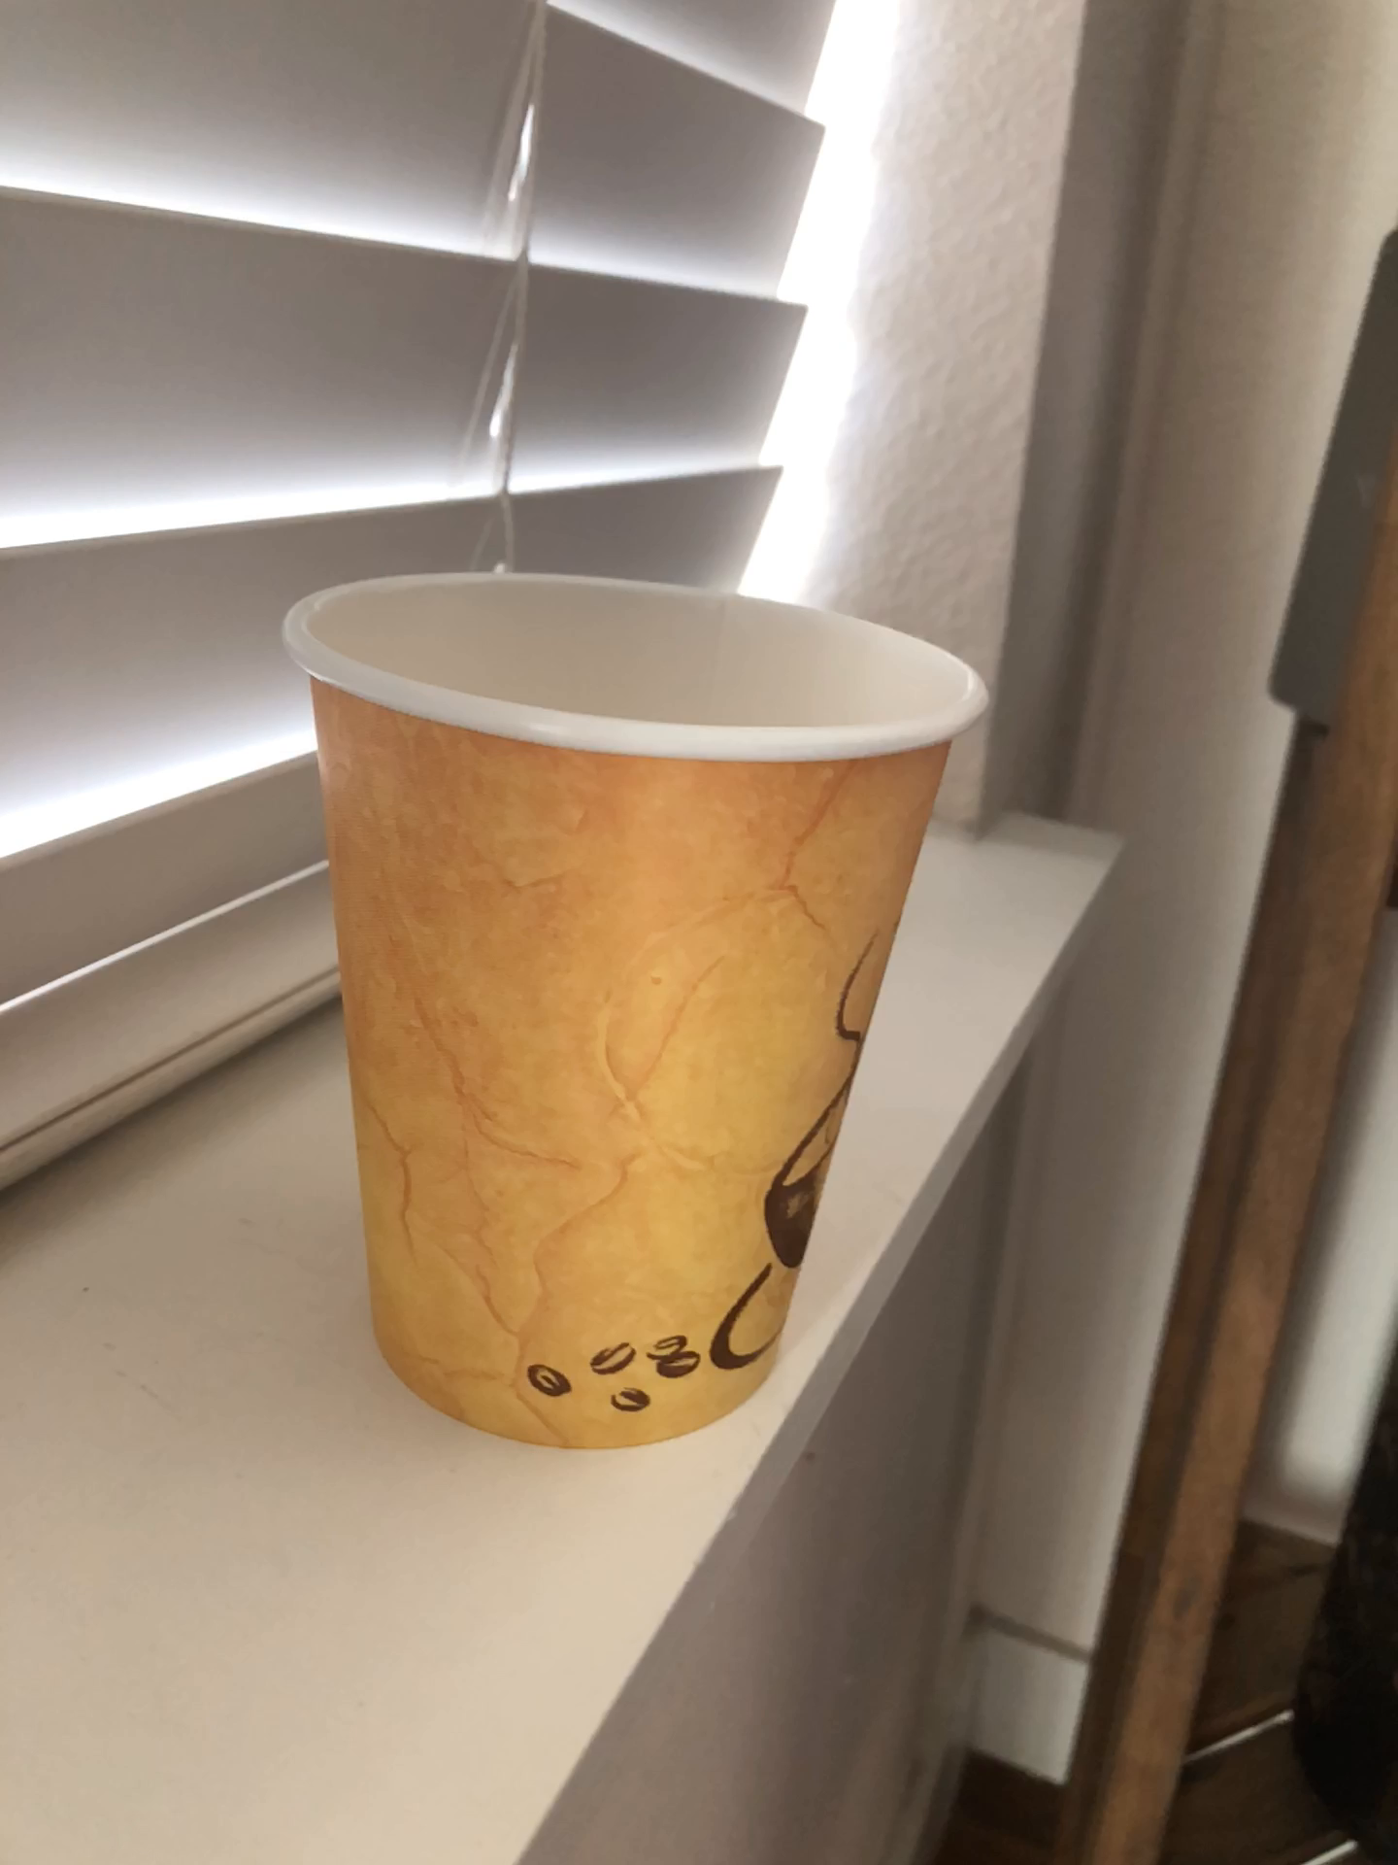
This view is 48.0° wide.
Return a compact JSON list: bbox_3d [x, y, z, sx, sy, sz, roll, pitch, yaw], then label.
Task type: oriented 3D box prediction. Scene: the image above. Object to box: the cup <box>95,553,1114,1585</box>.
[{"bbox_3d":[-0.009,0.004,0.212,0.093,0.088,0.096,5,21,-2],"label":"cup"}]
